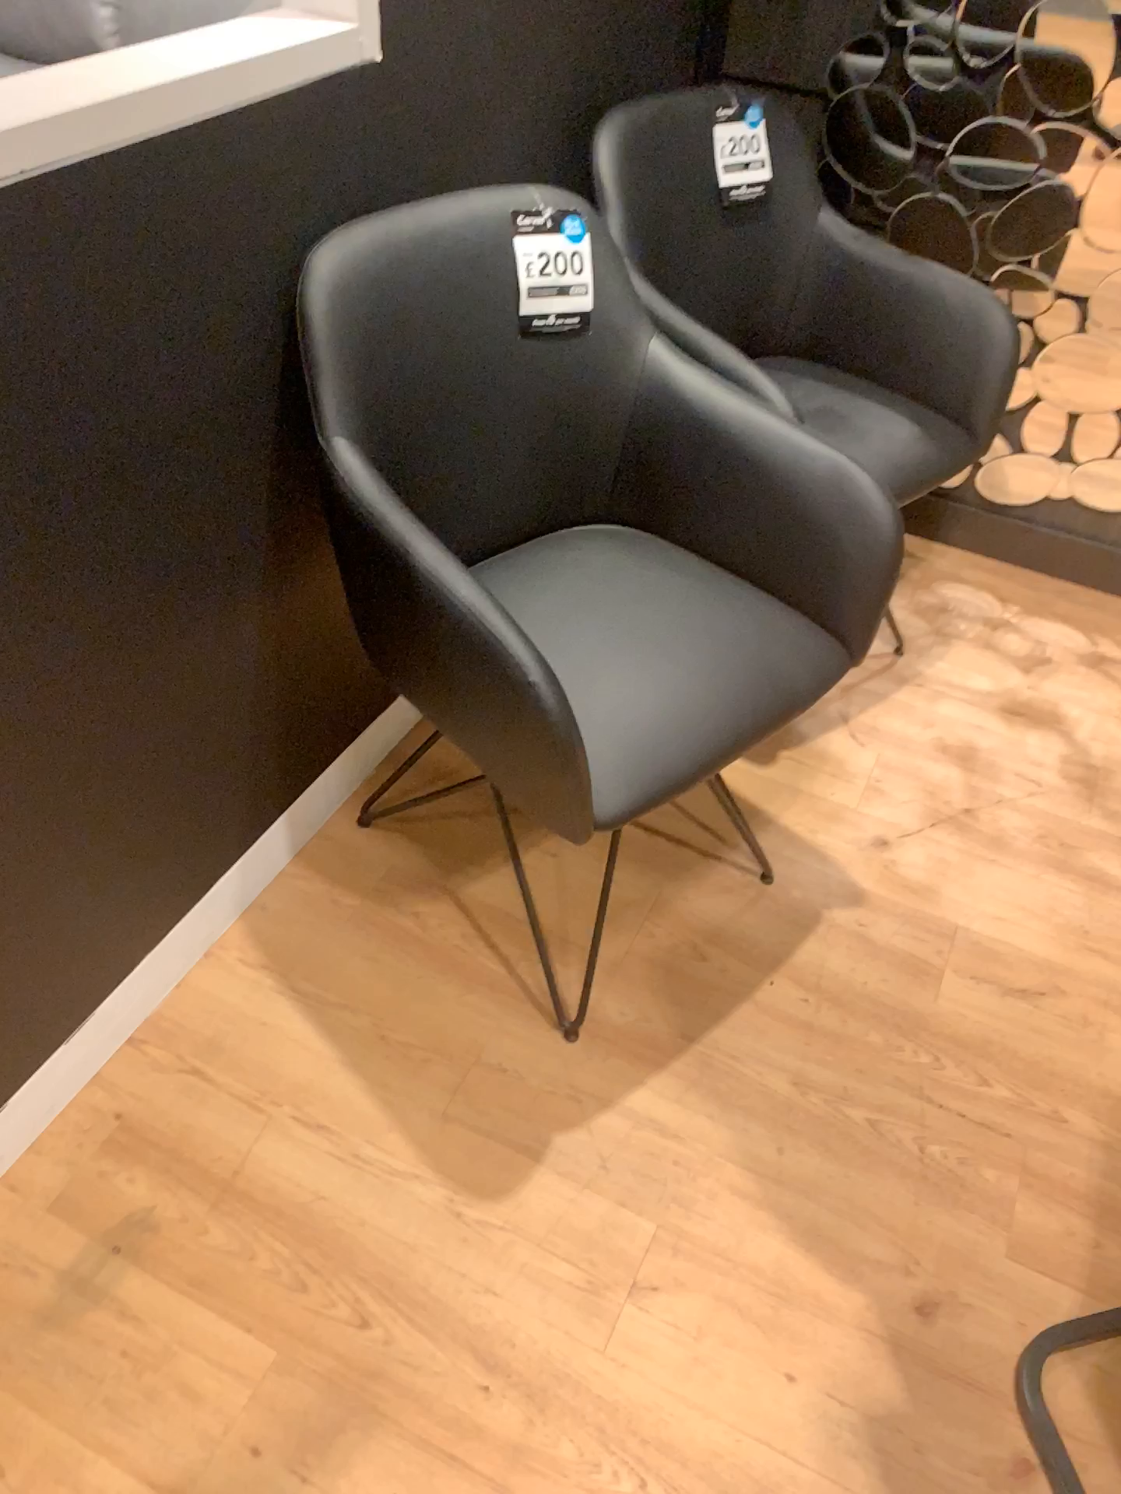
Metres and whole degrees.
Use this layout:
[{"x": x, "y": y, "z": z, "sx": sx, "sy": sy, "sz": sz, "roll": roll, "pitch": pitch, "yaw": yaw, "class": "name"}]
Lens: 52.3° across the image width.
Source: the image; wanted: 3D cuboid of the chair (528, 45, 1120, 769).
[{"x": 0.370, "y": -0.552, "z": 1.836, "sx": 0.594, "sy": 0.836, "sz": 0.566, "roll": 36, "pitch": 51, "yaw": 29, "class": "chair"}]

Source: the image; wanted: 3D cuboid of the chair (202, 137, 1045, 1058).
[{"x": 0.042, "y": -0.202, "z": 1.405, "sx": 0.606, "sy": 0.776, "sz": 0.594, "roll": -30, "pitch": 53, "yaw": -31, "class": "chair"}]
